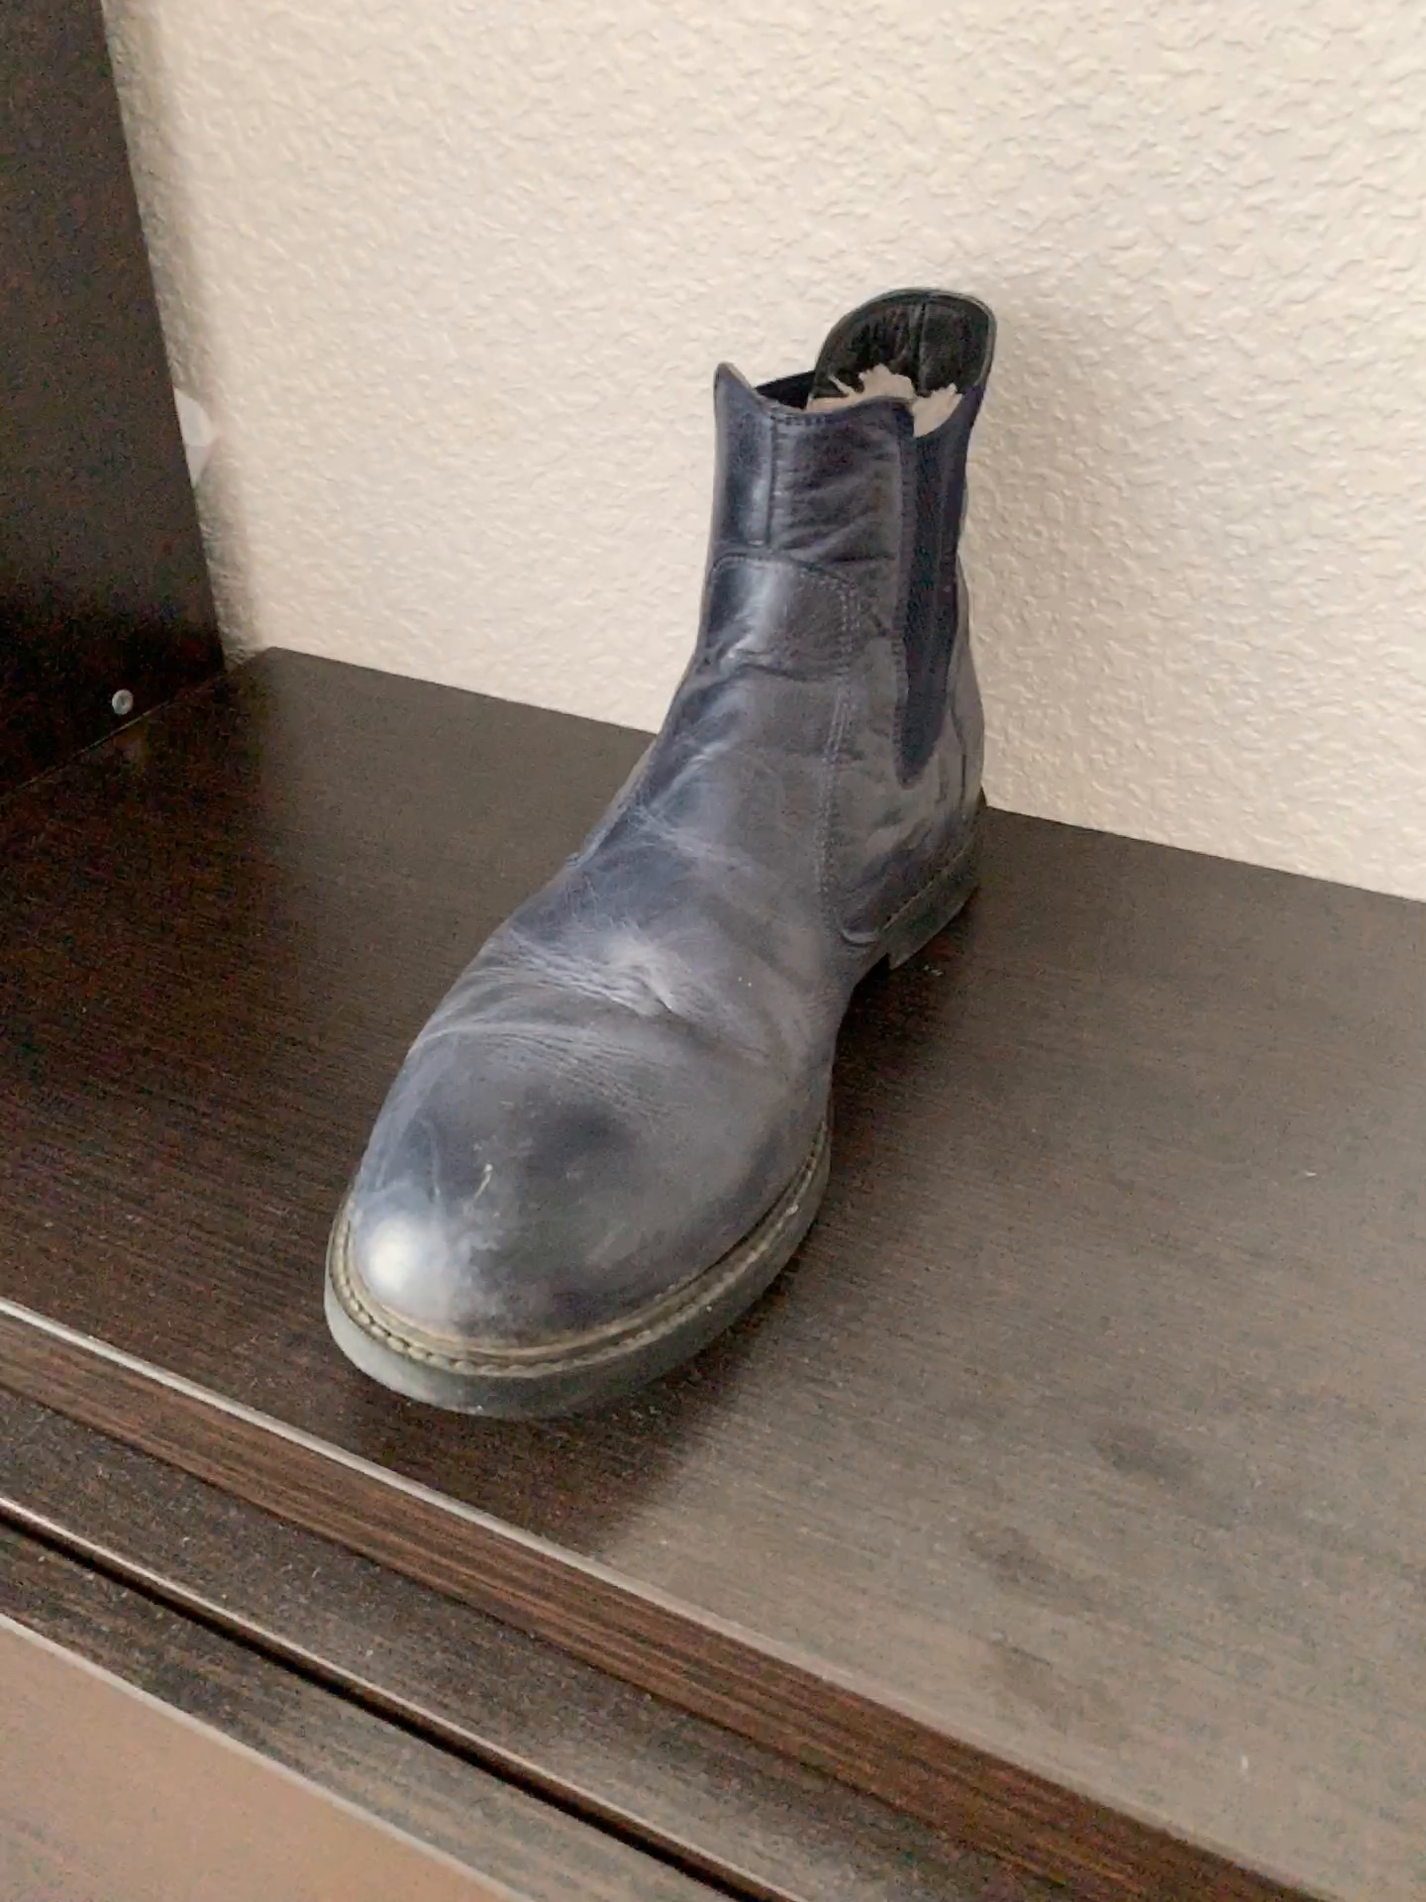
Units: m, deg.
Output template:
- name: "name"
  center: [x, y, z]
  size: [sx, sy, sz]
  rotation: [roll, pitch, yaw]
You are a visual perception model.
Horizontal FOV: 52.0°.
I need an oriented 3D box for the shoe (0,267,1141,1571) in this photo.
- name: "shoe"
  center: [0.000, -0.045, 0.351]
  size: [0.110, 0.159, 0.301]
  rotation: [16, 39, 21]
